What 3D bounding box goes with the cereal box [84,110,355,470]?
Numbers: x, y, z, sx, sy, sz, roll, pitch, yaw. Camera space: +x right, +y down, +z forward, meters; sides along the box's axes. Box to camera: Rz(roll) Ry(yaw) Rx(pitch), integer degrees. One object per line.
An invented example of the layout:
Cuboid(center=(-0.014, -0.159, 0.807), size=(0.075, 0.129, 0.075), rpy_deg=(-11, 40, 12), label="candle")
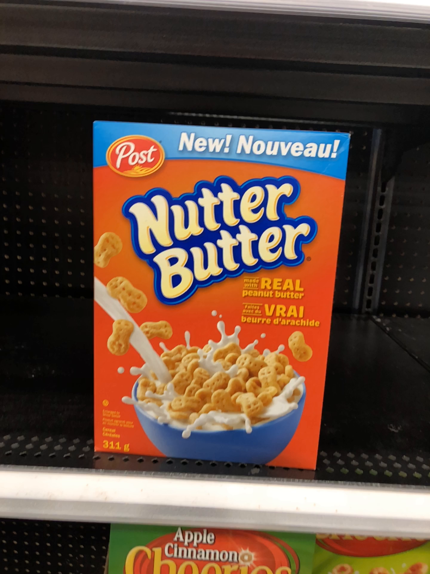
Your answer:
Cuboid(center=(-0.004, 0.005, 0.408), size=(0.200, 0.279, 0.060), rpy_deg=(4, 12, 3), label="cereal box")
